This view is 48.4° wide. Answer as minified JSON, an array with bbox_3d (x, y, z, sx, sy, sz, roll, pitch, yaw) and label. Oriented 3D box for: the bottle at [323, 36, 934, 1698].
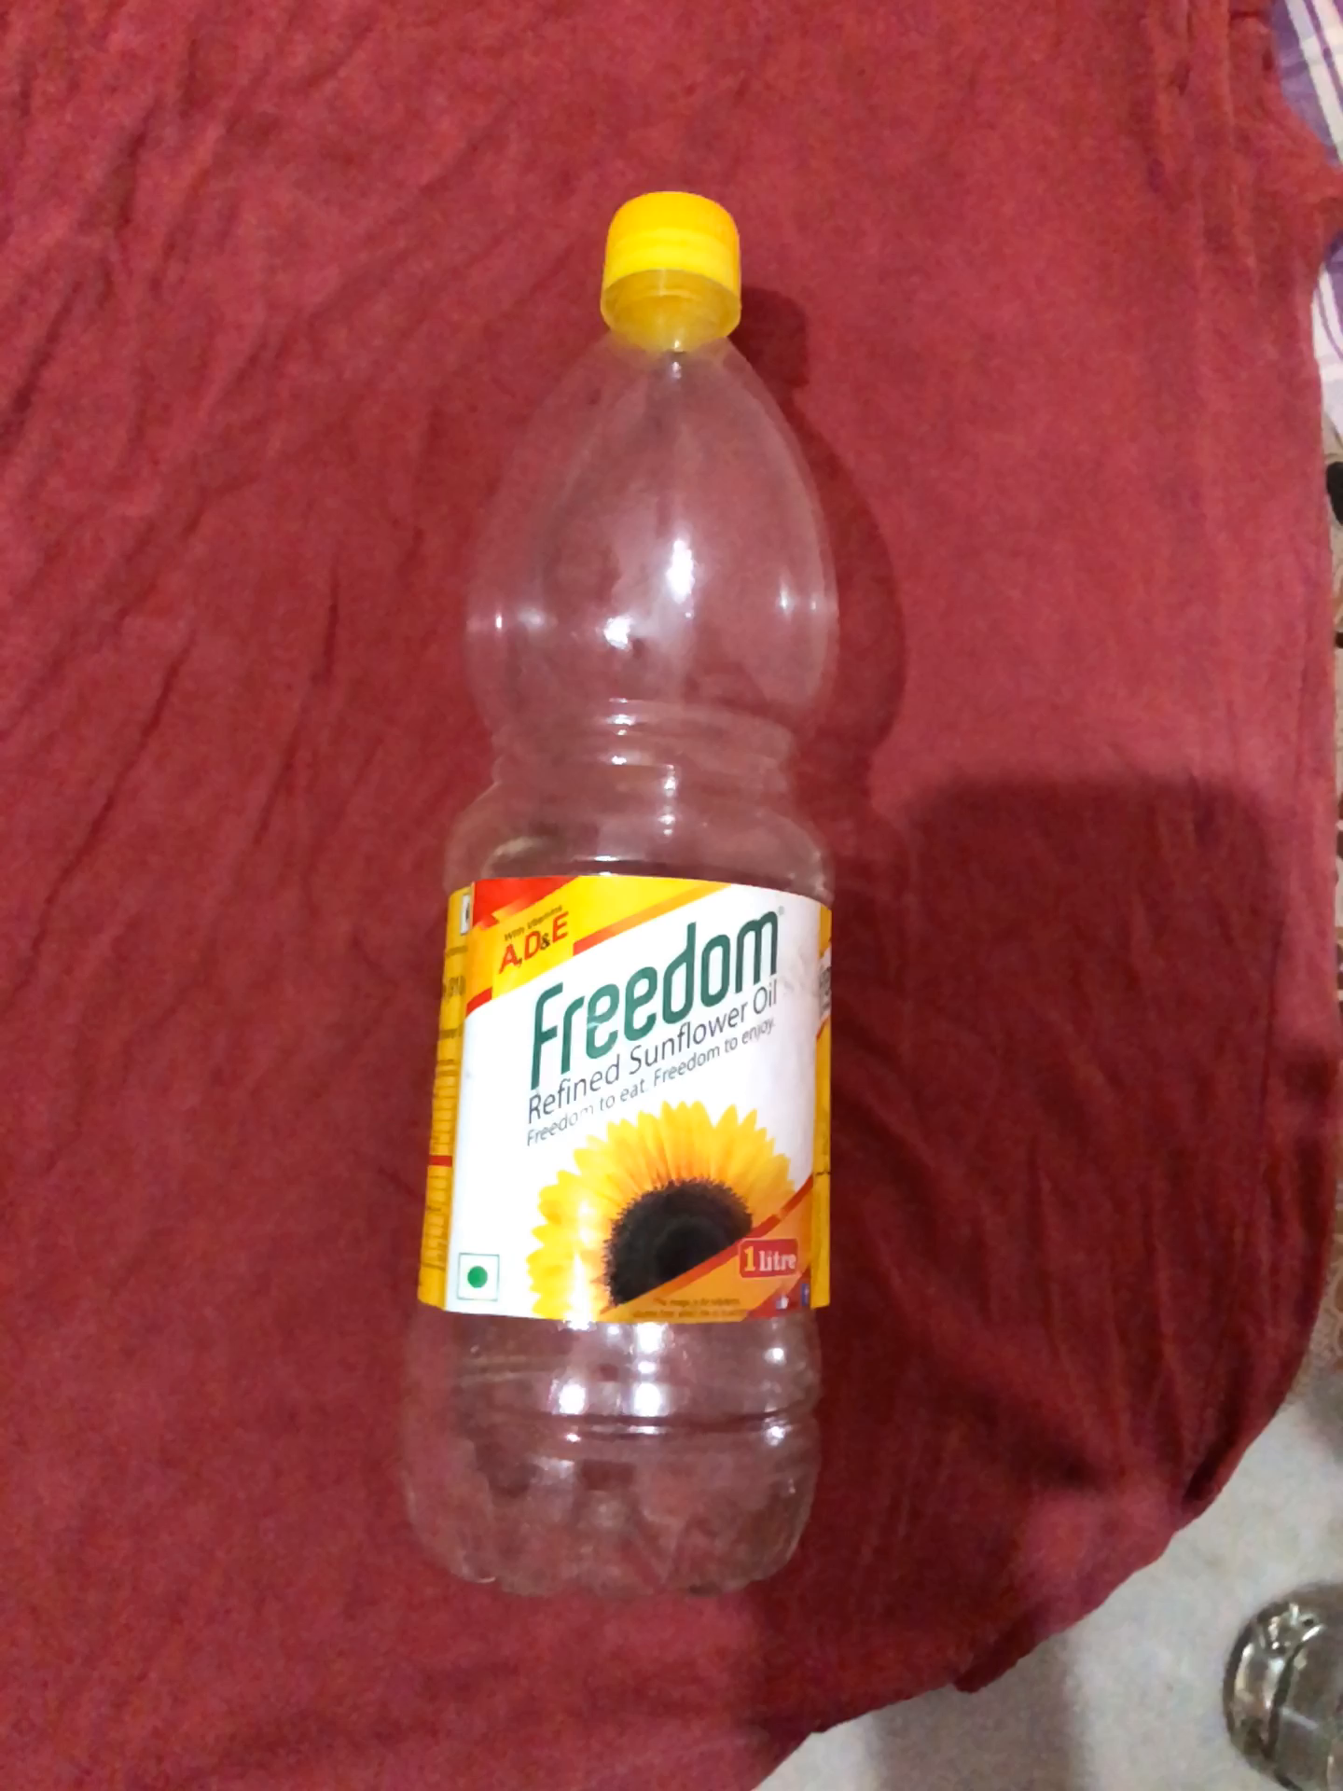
[{"bbox_3d":[-0.006,-0.007,0.284,0.080,0.060,0.270,7,82,-27],"label":"bottle"}]
